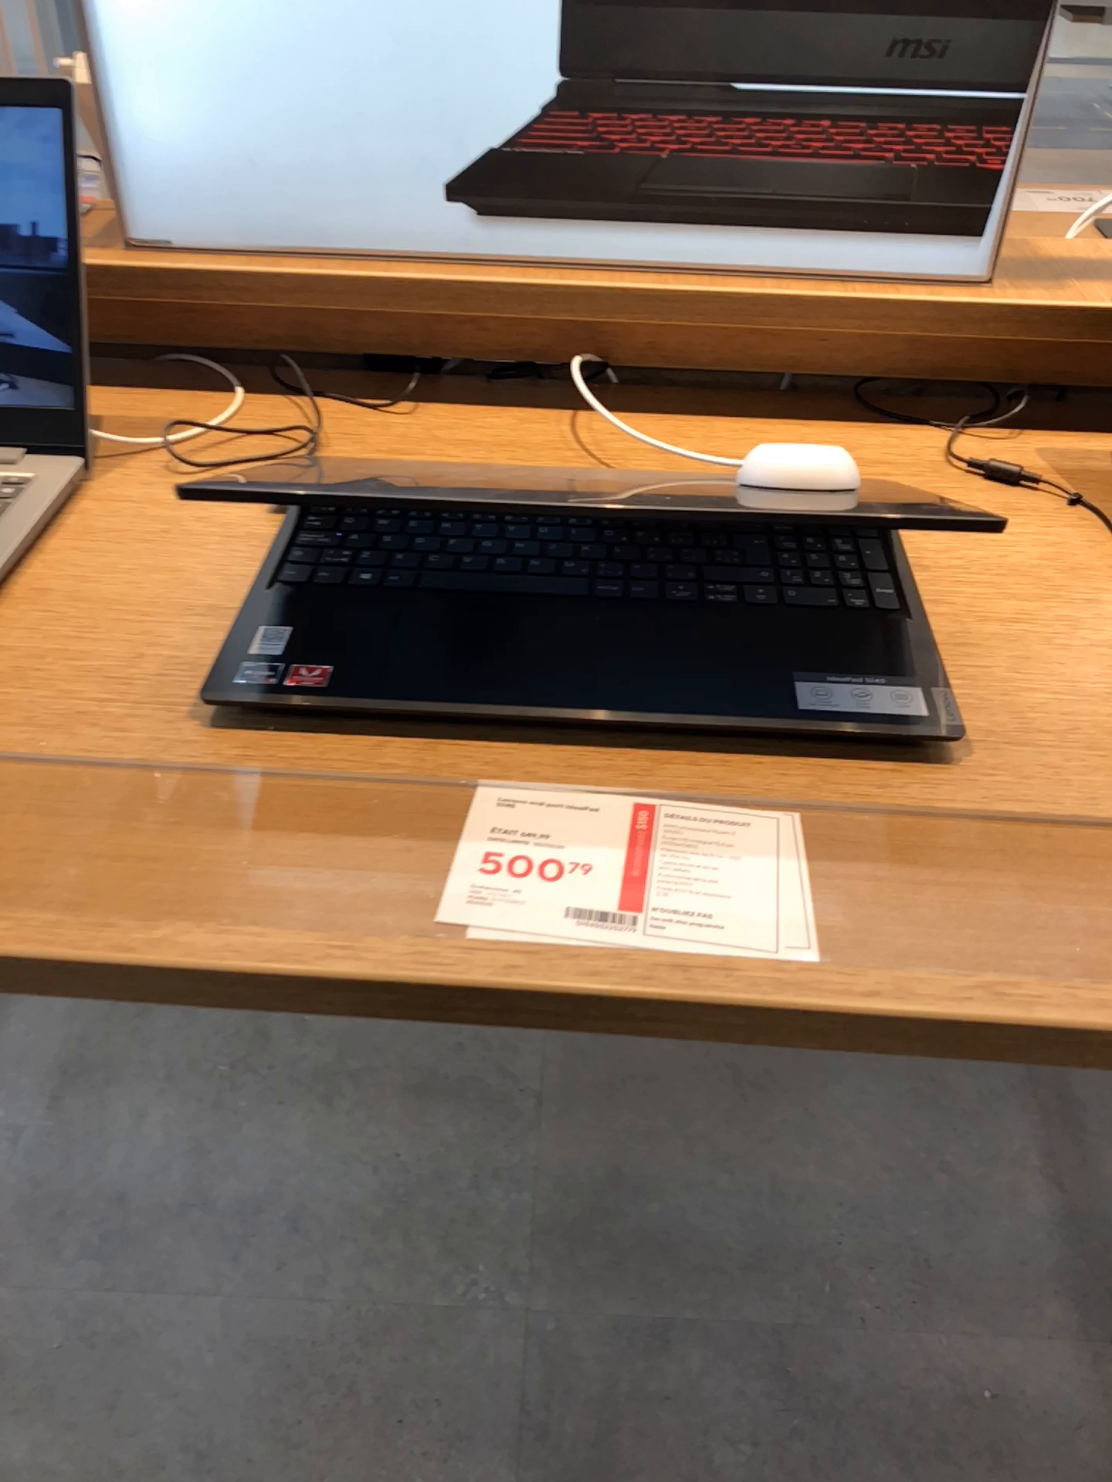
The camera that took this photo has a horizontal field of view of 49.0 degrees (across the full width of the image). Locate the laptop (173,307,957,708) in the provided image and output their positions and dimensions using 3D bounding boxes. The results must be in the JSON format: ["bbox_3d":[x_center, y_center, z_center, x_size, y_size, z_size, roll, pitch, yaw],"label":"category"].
[{"bbox_3d":[0.012,-0.128,0.624,0.330,0.083,0.224,3,40,-1],"label":"laptop"}]
